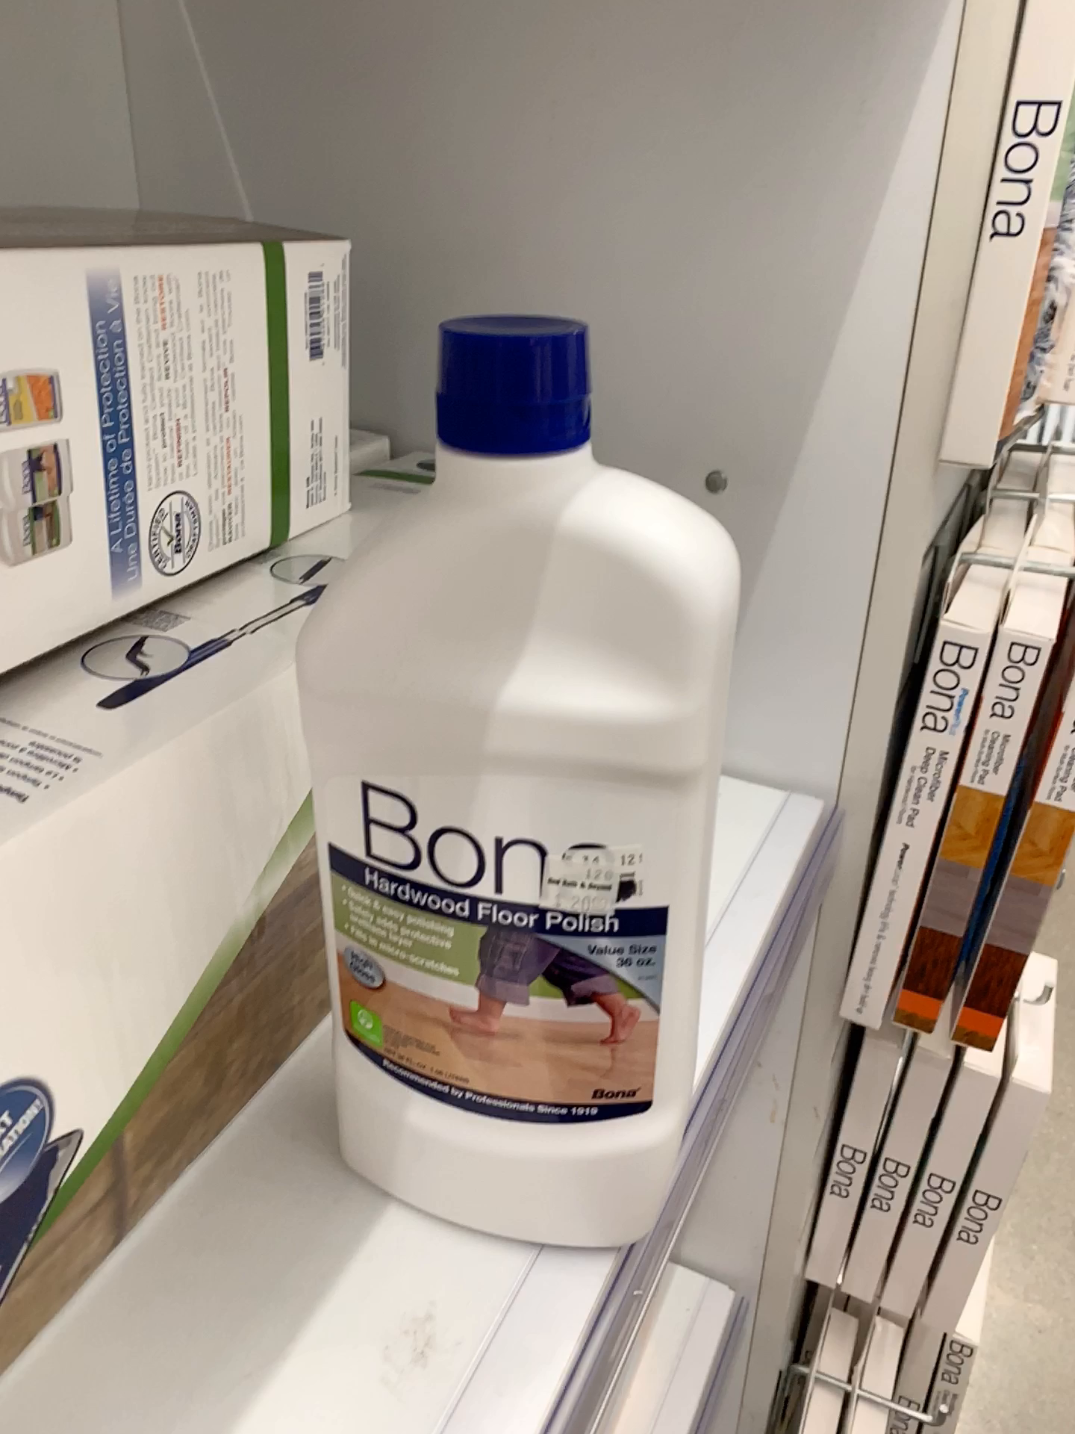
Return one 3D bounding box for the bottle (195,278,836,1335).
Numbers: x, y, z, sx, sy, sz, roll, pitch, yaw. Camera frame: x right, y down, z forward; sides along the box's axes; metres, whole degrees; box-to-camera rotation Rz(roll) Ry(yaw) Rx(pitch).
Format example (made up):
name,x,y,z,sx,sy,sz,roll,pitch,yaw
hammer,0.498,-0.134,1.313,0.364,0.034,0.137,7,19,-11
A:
name,x,y,z,sx,sy,sz,roll,pitch,yaw
bottle,-0.003,0.030,0.290,0.120,0.259,0.070,8,27,12
